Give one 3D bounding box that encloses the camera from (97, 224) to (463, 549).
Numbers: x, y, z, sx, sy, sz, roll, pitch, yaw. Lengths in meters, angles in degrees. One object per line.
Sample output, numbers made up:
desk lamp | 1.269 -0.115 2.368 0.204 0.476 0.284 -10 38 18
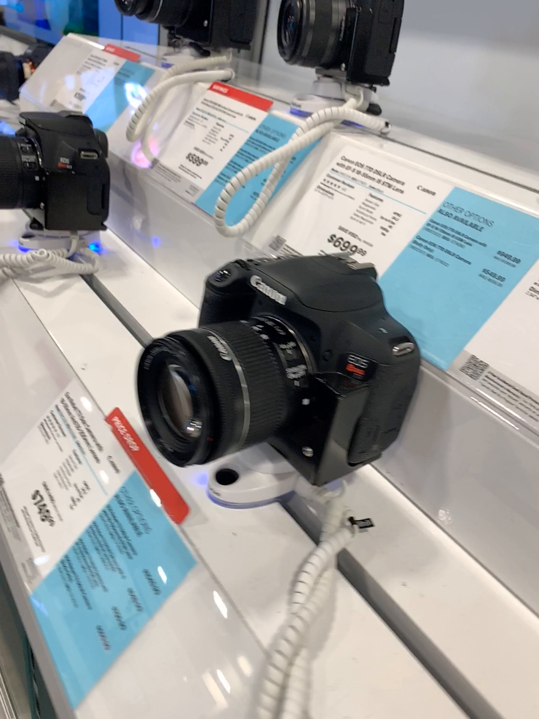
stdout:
camera | -0.001 -0.003 0.311 0.138 0.099 0.130 -15 38 -38
